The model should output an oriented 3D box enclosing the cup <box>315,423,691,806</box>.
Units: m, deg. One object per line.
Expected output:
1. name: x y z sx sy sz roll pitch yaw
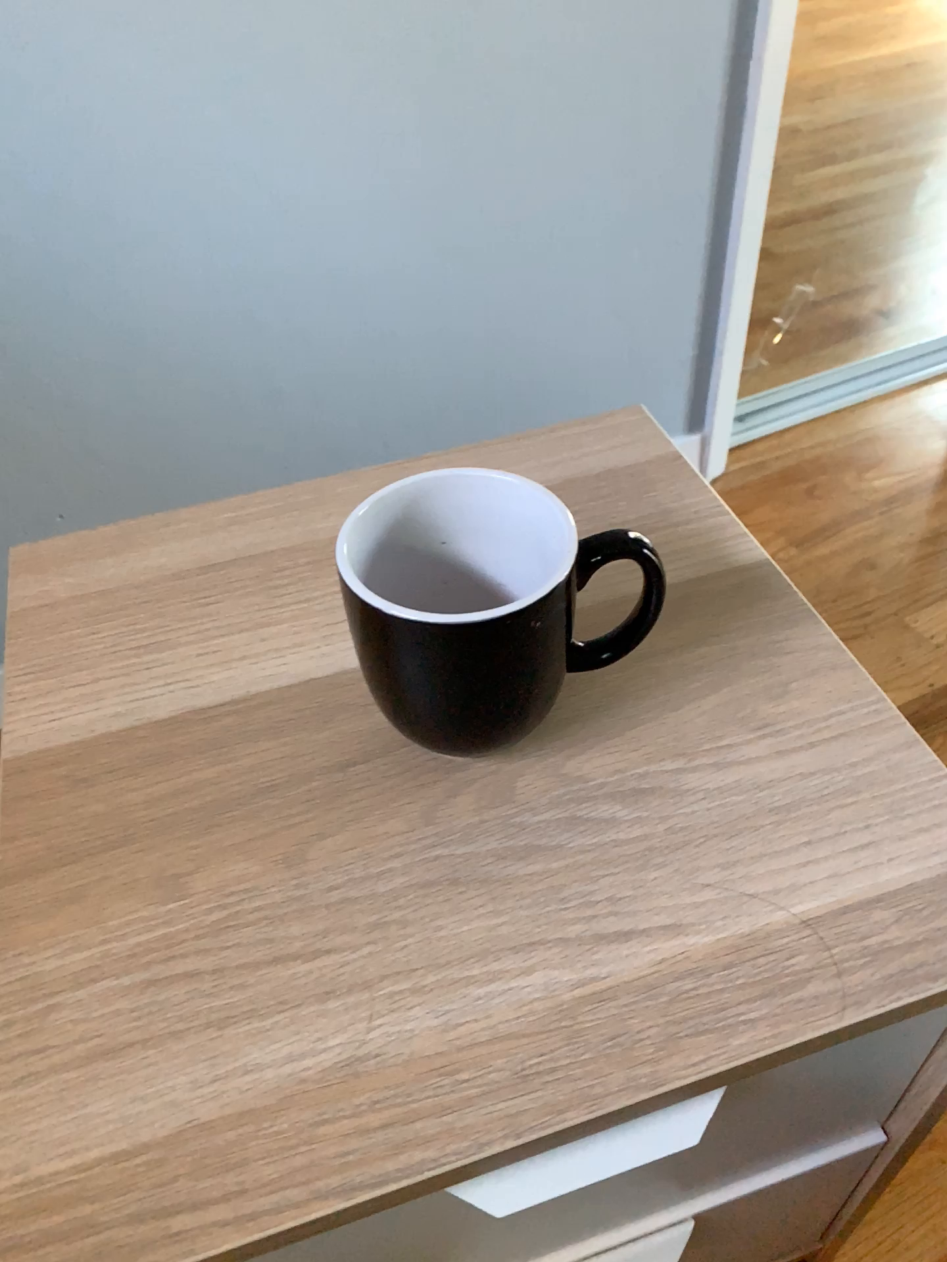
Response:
1. cup: 0.009 -0.007 0.438 0.140 0.119 0.100 -7 45 -2
